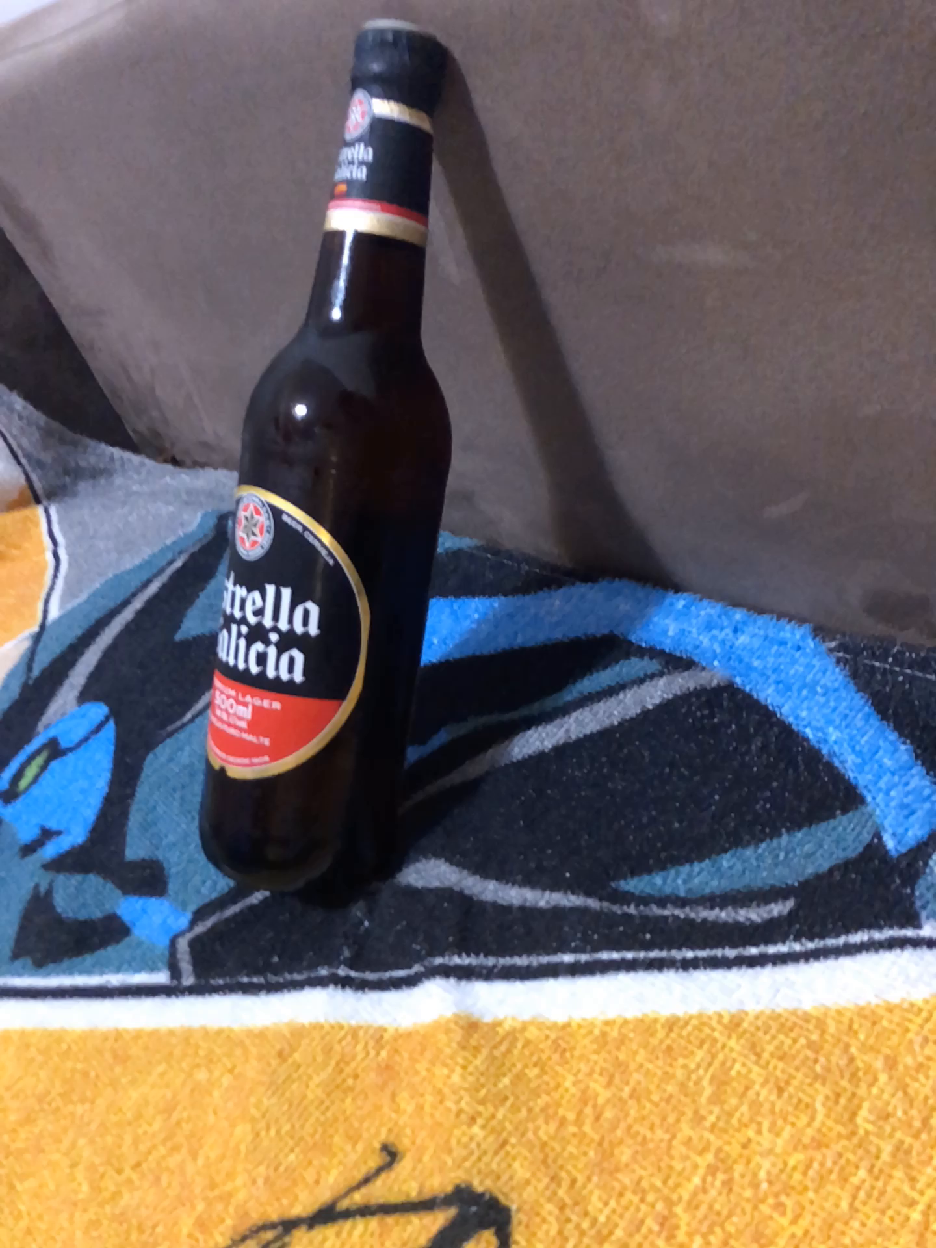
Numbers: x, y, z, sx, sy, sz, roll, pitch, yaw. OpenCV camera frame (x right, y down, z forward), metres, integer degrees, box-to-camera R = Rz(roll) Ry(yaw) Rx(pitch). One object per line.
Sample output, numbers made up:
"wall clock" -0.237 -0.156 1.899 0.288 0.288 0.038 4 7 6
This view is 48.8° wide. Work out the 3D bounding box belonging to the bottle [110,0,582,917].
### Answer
"bottle" -0.045 -0.055 0.333 0.080 0.269 0.080 10 9 -2
